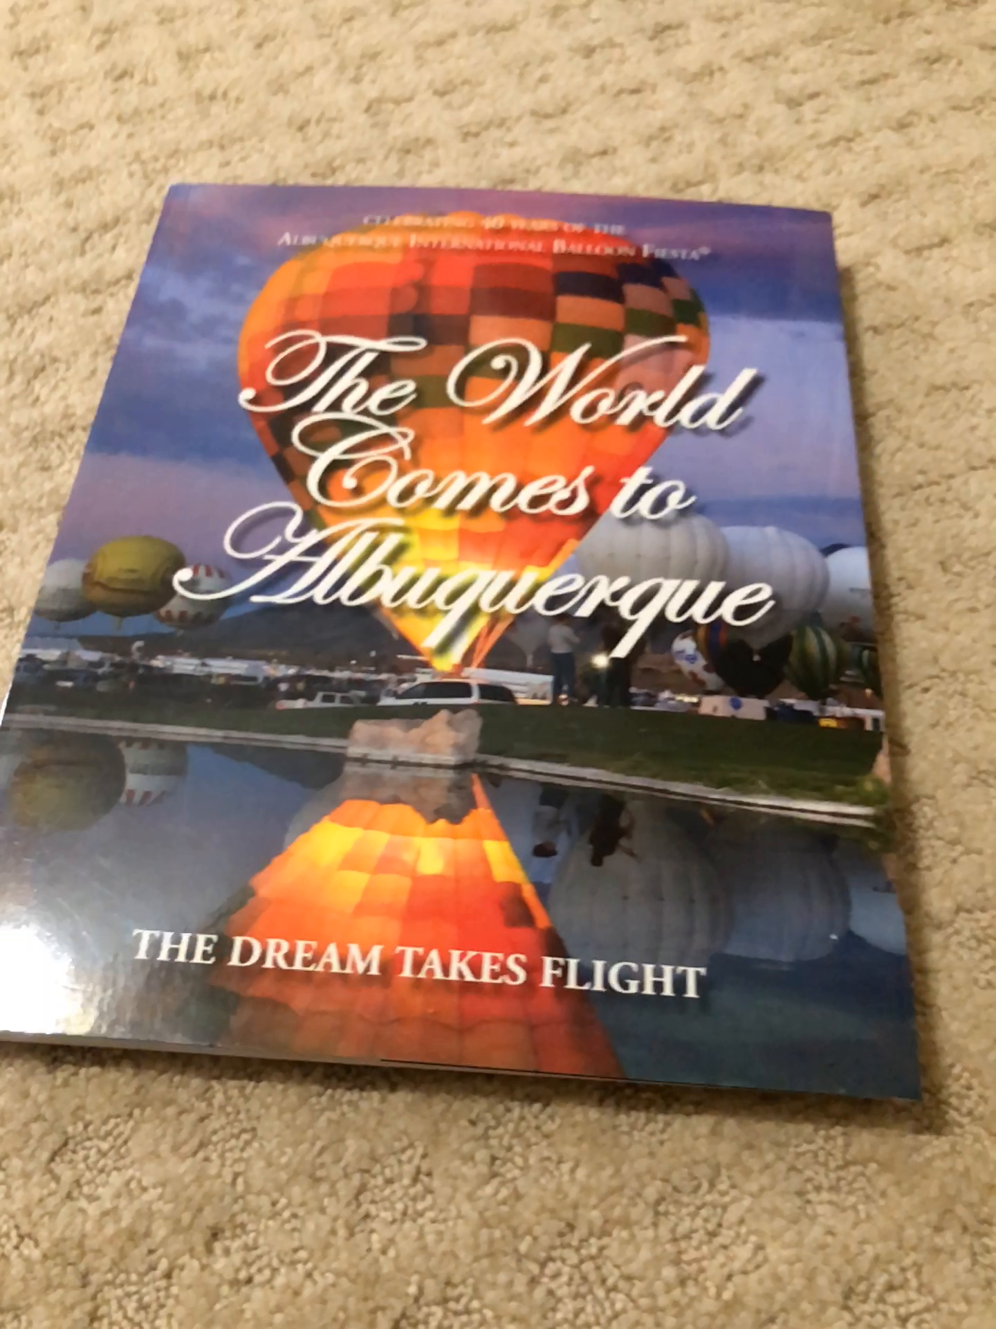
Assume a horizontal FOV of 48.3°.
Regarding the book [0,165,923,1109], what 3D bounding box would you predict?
[{"bbox_3d":[-0.012,-0.032,0.288,0.204,0.023,0.259,3,61,3],"label":"book"}]
